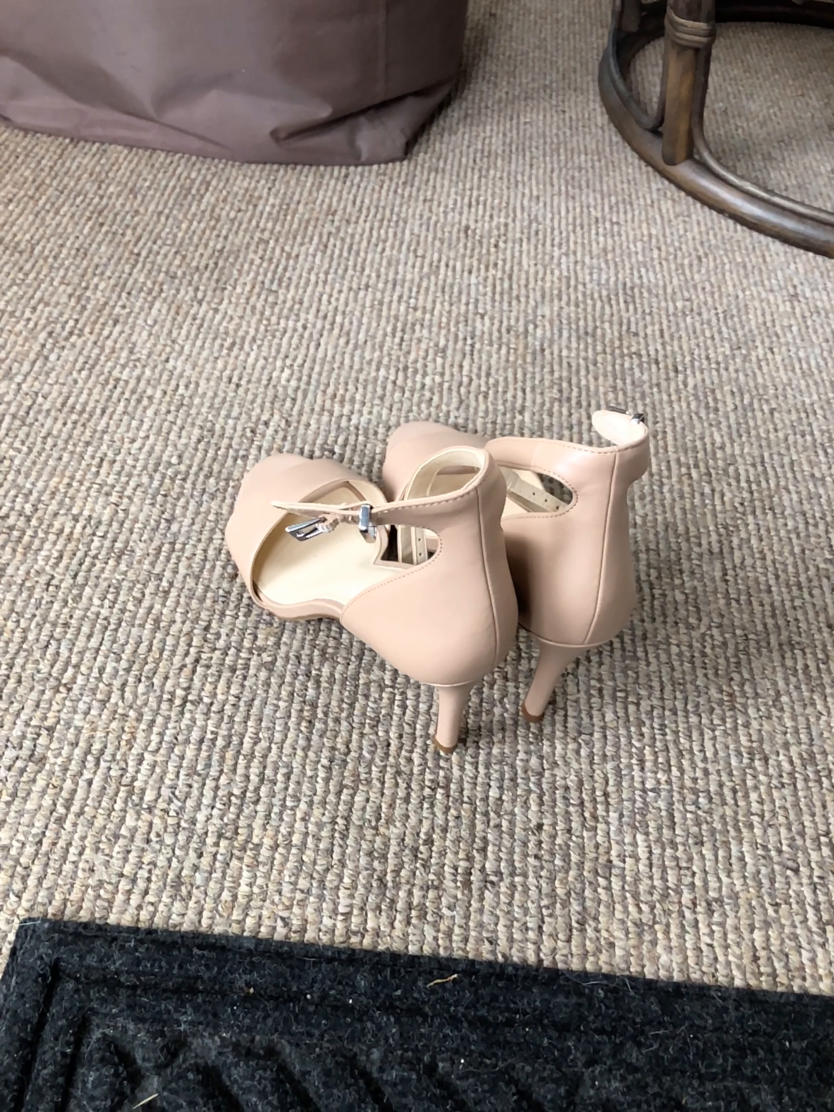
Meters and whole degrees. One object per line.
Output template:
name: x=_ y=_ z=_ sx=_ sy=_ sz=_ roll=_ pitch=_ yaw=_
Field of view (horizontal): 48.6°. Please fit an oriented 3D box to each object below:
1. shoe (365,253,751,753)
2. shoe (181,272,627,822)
shoe: x=0.053 y=-0.033 z=0.493 sx=0.099 sy=0.154 sz=0.207 roll=-9 pitch=52 yaw=-17
shoe: x=-0.022 y=-0.011 z=0.453 sx=0.106 sy=0.144 sz=0.207 roll=-20 pitch=56 yaw=-24
